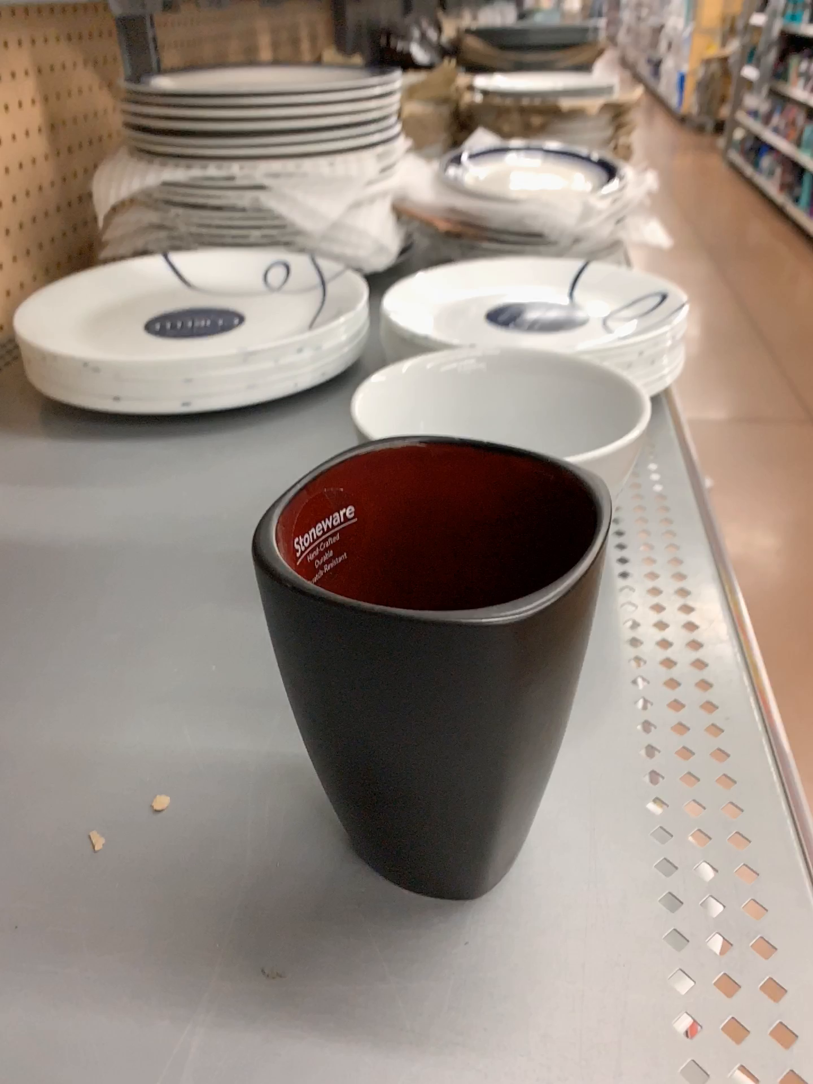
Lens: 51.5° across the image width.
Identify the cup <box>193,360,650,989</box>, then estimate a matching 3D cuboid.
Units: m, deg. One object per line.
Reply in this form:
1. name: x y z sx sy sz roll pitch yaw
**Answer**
1. cup: 0.016 0.031 0.269 0.090 0.129 0.131 10 35 17
